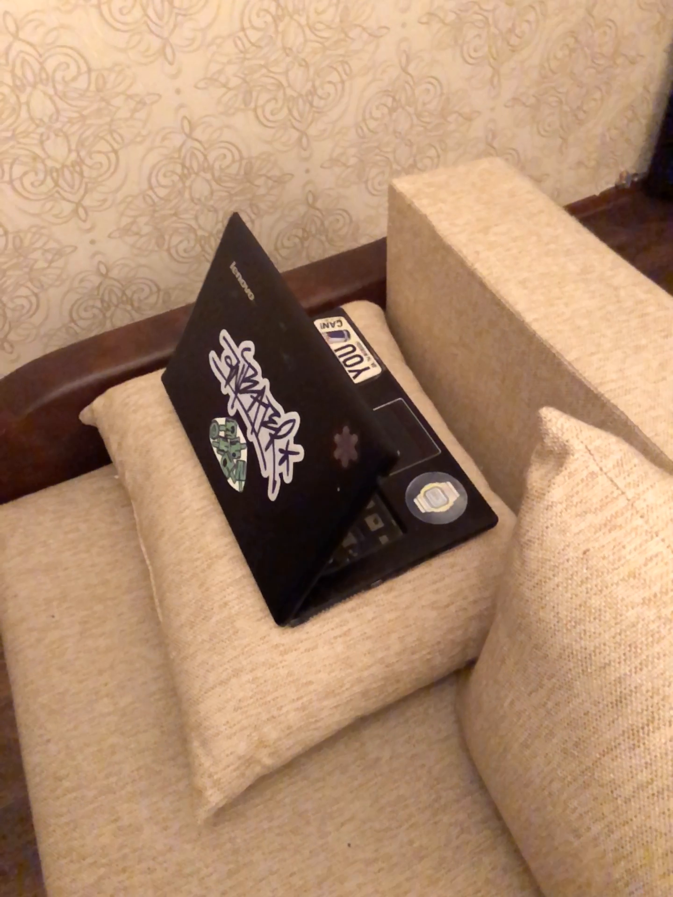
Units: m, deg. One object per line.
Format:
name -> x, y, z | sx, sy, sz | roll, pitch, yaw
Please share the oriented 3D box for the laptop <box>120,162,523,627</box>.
laptop -> -0.034, -0.079, 0.853 | 0.267, 0.223, 0.414 | -24, 54, -12
